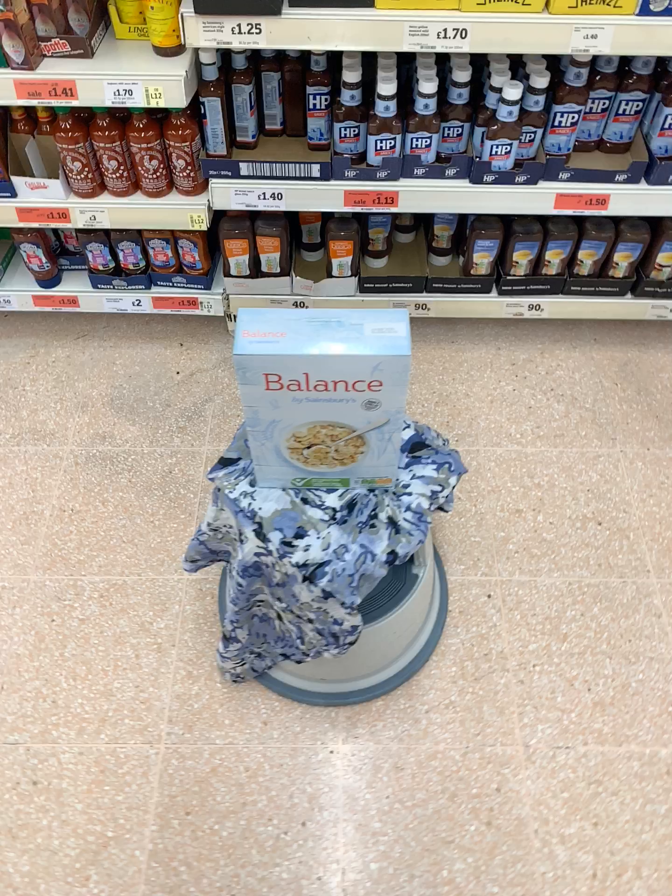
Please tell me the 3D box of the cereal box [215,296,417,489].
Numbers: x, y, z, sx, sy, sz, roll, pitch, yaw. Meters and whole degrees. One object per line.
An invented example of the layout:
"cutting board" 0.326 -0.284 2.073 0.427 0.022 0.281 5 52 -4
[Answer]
"cereal box" -0.021 -0.056 0.844 0.210 0.278 0.071 1 55 1
